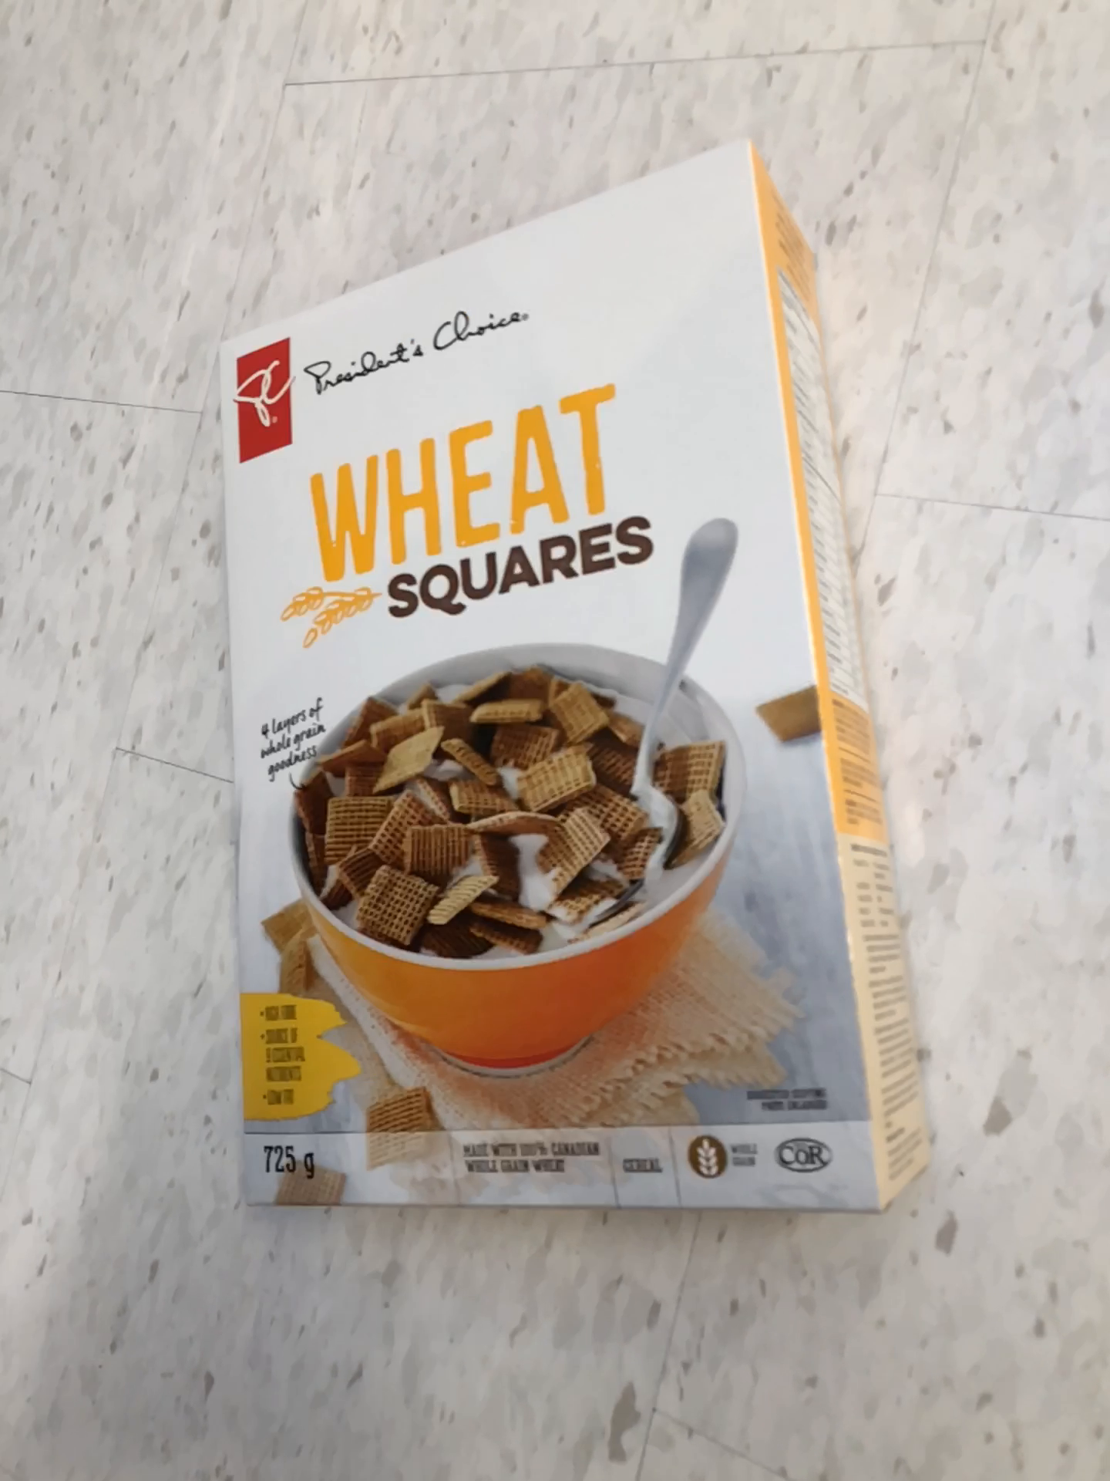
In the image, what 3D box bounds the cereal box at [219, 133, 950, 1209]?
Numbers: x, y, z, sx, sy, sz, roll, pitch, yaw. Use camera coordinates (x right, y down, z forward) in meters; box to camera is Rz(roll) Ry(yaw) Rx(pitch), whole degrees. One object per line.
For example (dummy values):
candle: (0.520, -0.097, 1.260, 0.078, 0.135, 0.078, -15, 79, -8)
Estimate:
cereal box: (-0.002, -0.010, 0.395, 0.201, 0.080, 0.290, -10, 77, 26)
